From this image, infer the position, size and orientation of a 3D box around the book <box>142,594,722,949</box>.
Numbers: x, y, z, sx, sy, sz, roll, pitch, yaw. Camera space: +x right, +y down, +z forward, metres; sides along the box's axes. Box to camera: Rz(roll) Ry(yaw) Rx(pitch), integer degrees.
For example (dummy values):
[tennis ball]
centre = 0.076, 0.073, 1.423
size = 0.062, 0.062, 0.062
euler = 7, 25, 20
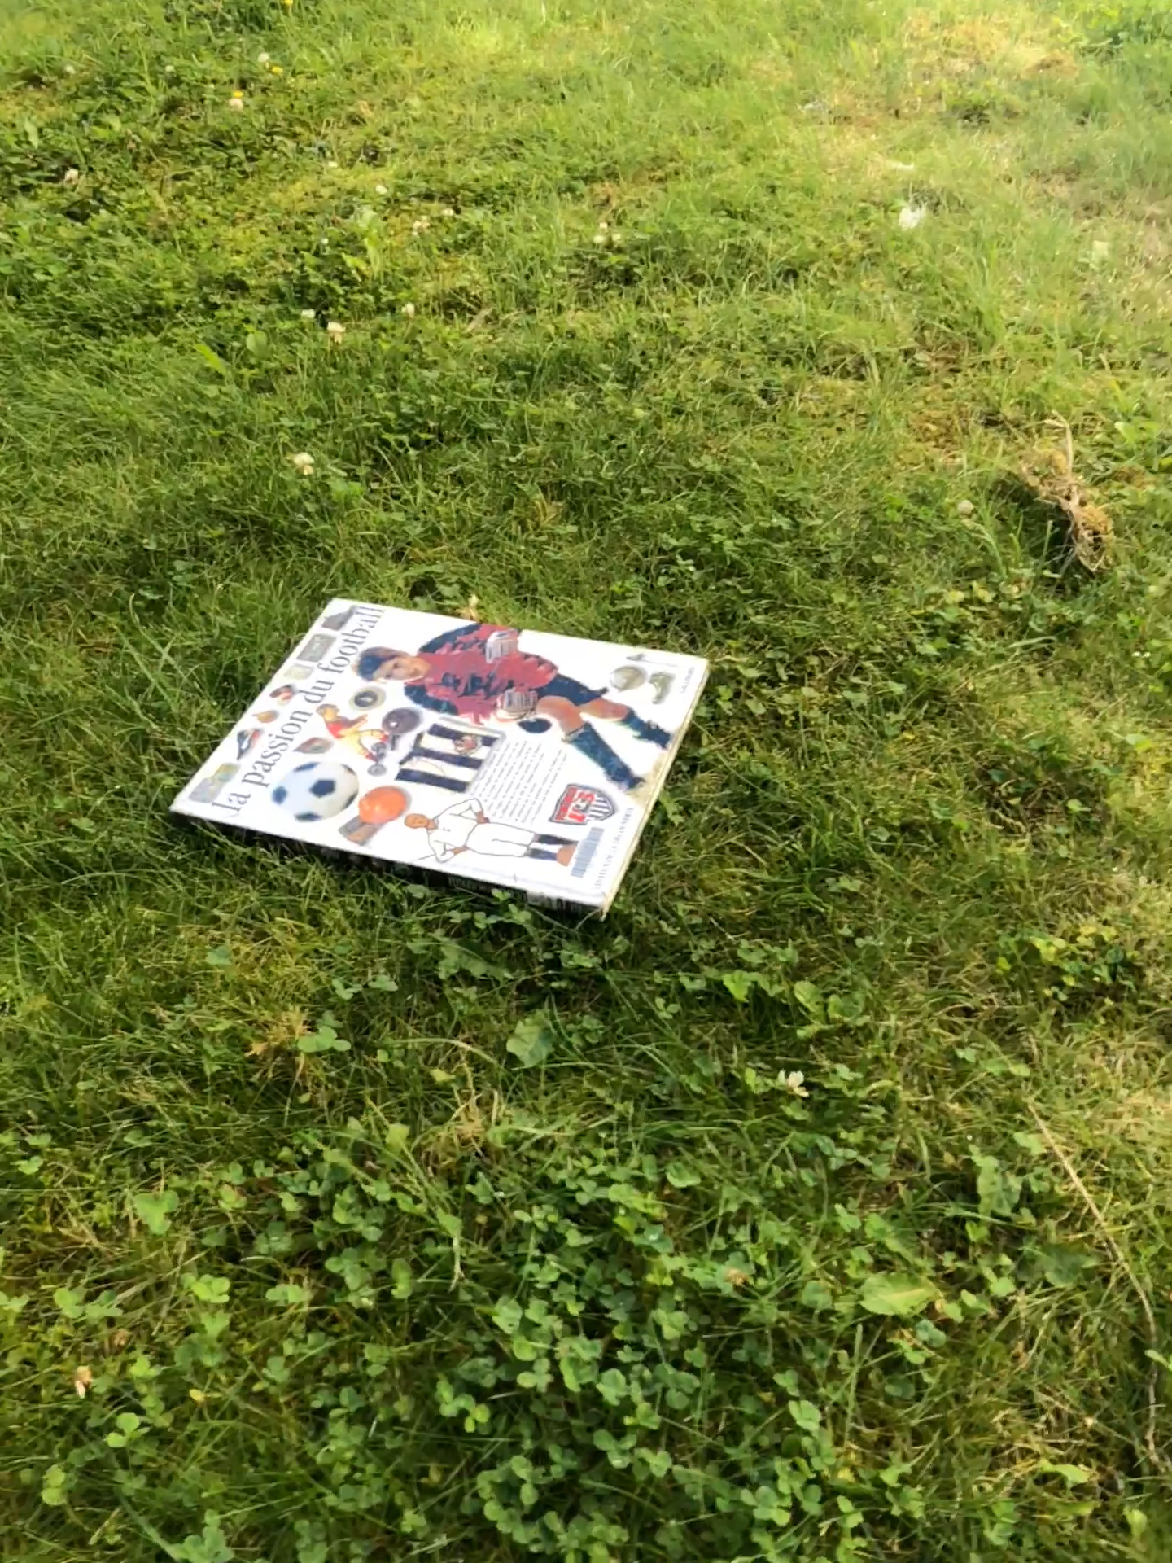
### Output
[book]
centre = -0.089, -0.022, 0.820
size = 0.300, 0.020, 0.231
euler = 11, 47, 16
